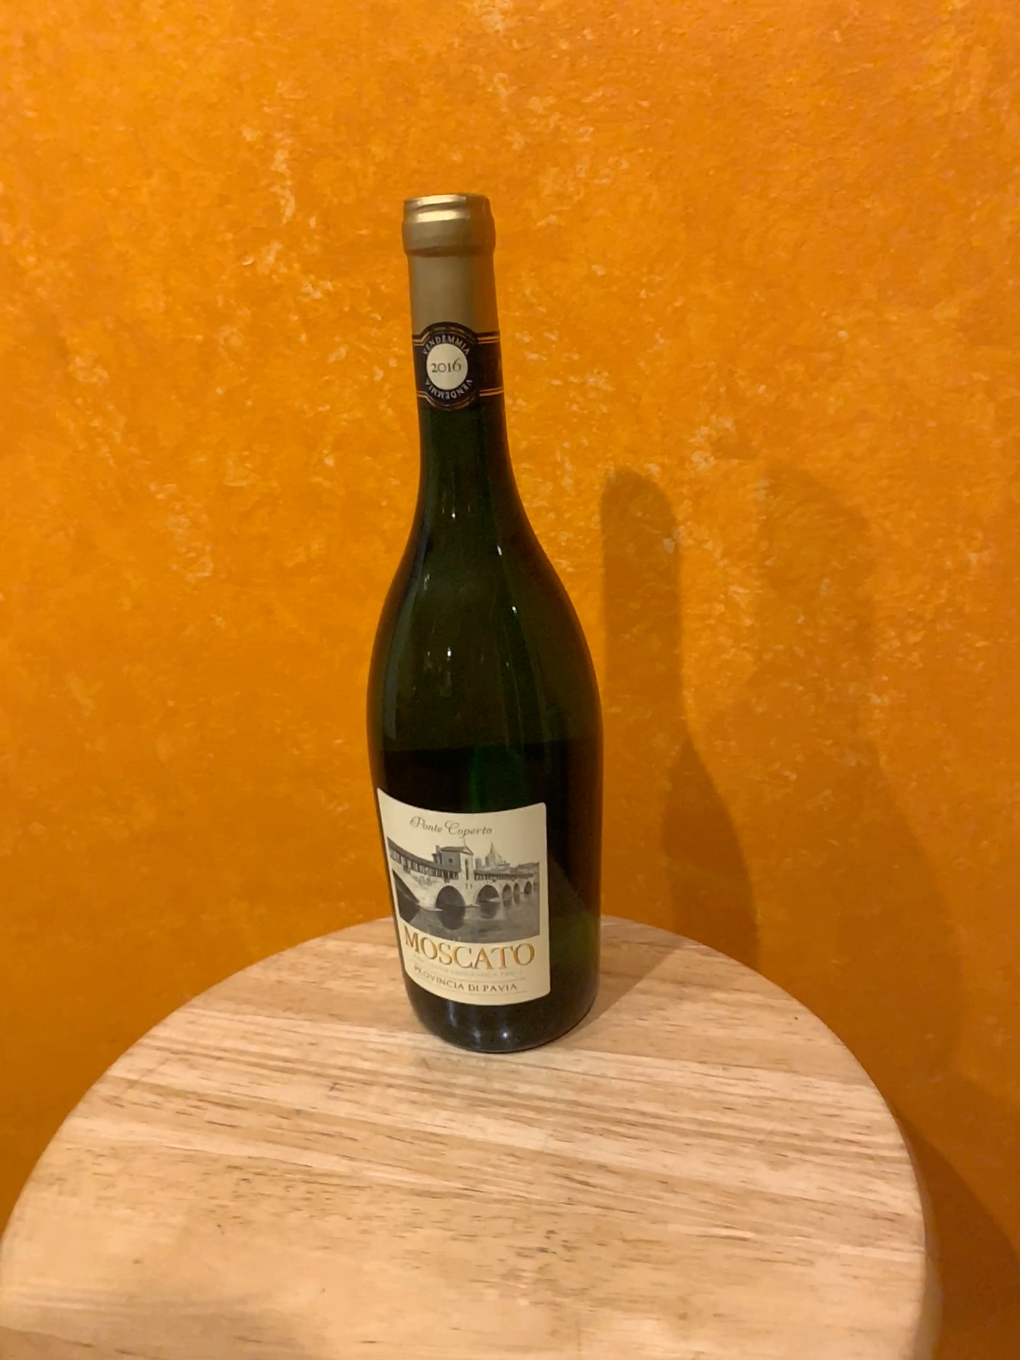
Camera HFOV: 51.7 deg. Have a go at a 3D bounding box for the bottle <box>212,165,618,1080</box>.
[{"bbox_3d":[-0.019,-0.010,0.360,0.090,0.289,0.070,4,23,19],"label":"bottle"}]
